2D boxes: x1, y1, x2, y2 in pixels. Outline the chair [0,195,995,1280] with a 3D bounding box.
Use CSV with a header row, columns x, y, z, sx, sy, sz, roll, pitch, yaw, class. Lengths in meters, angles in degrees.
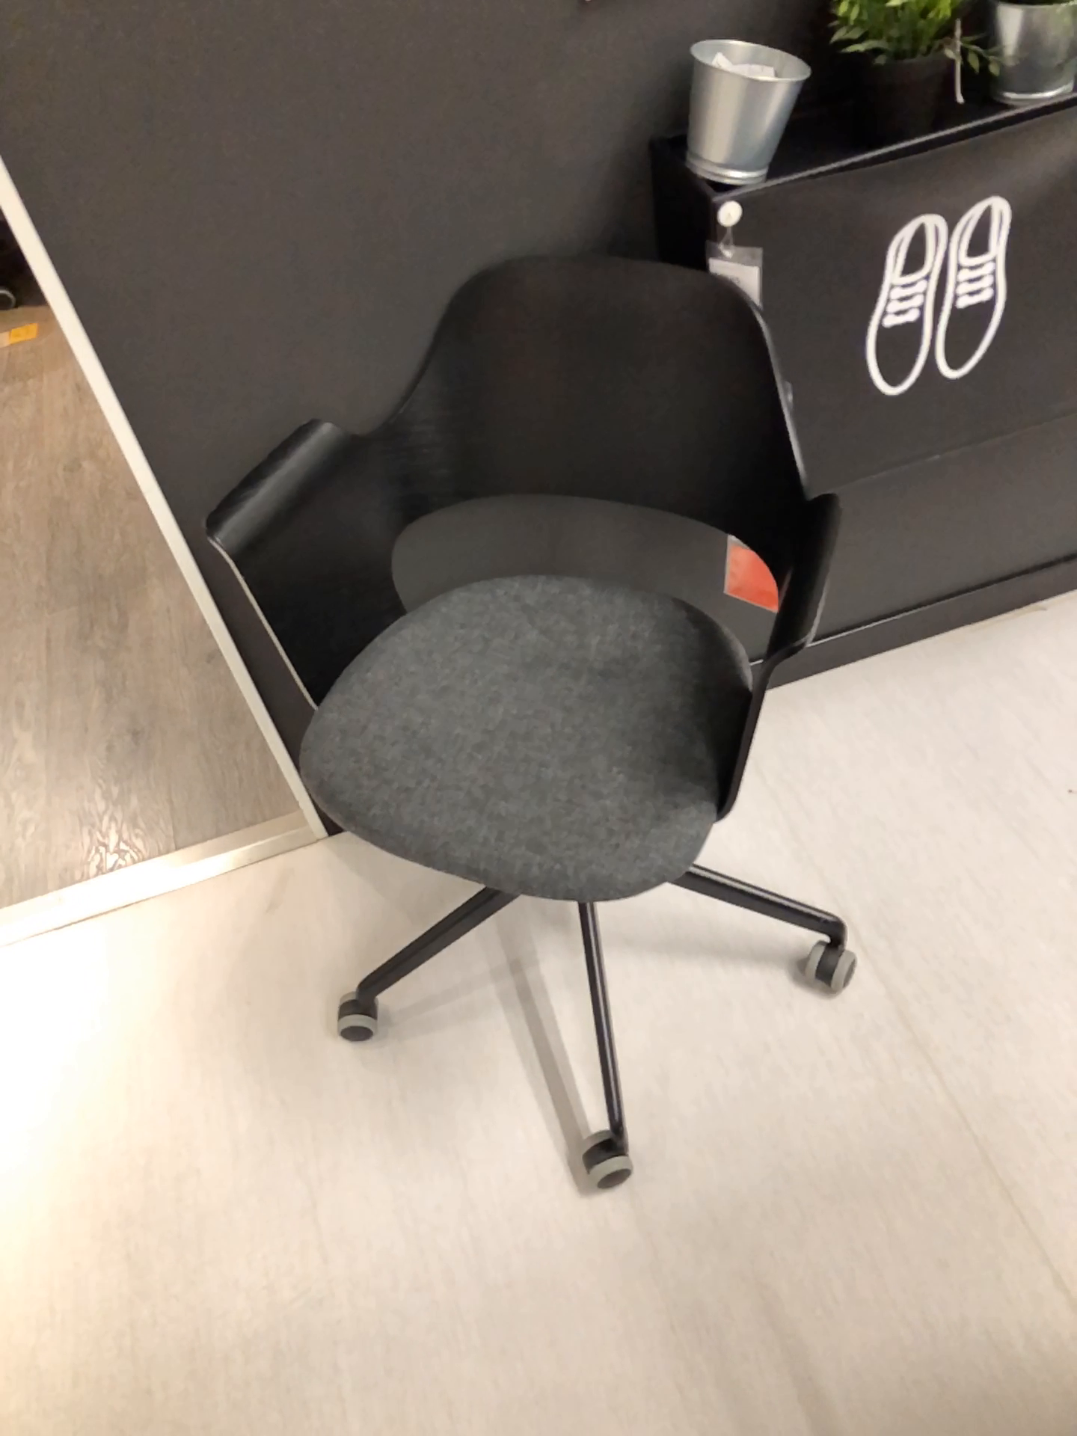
x,y,z,sx,sy,sz,roll,pitch,yaw,class
-0.016,0.012,1.172,0.662,0.755,0.562,19,55,26,chair
